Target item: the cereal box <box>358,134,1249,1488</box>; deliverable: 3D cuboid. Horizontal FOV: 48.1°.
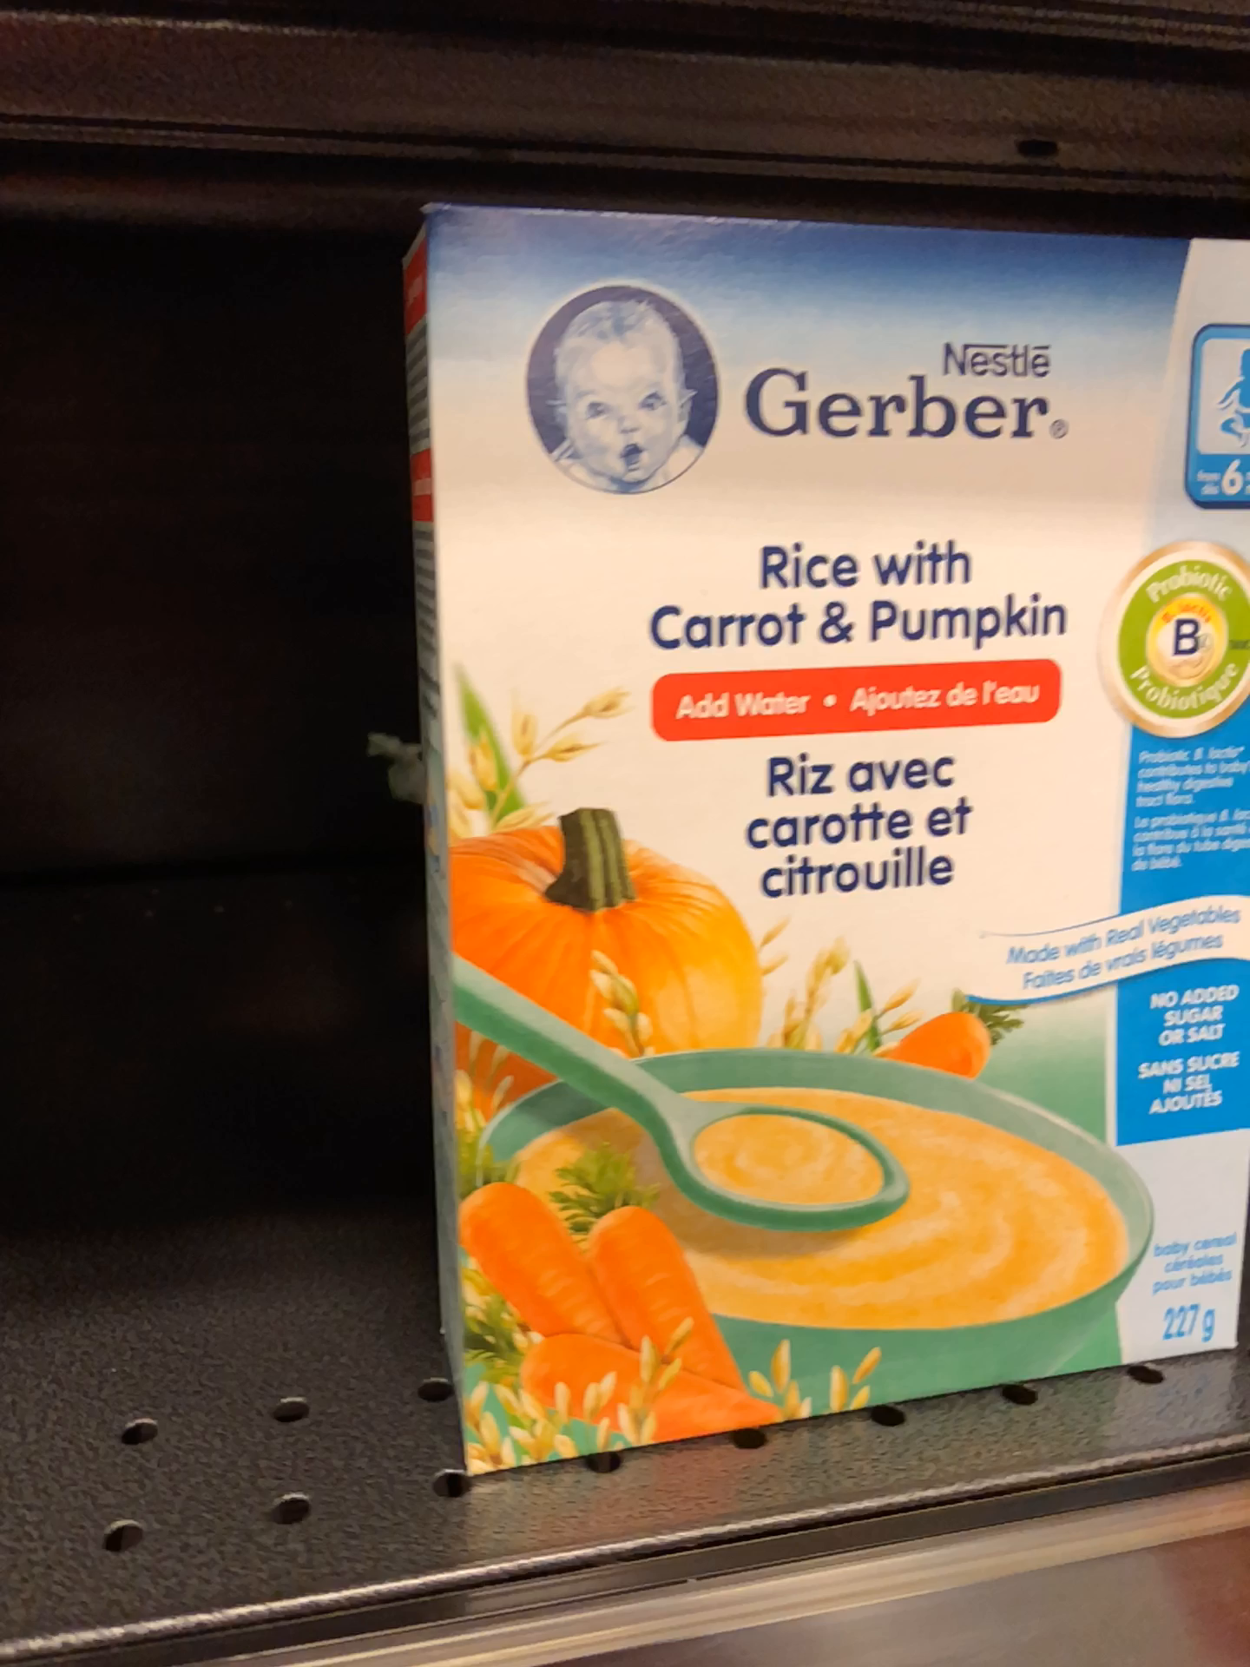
[{"bbox_3d":[0.037,-0.002,0.239,0.150,0.200,0.040,-4,13,-14],"label":"cereal box"}]
